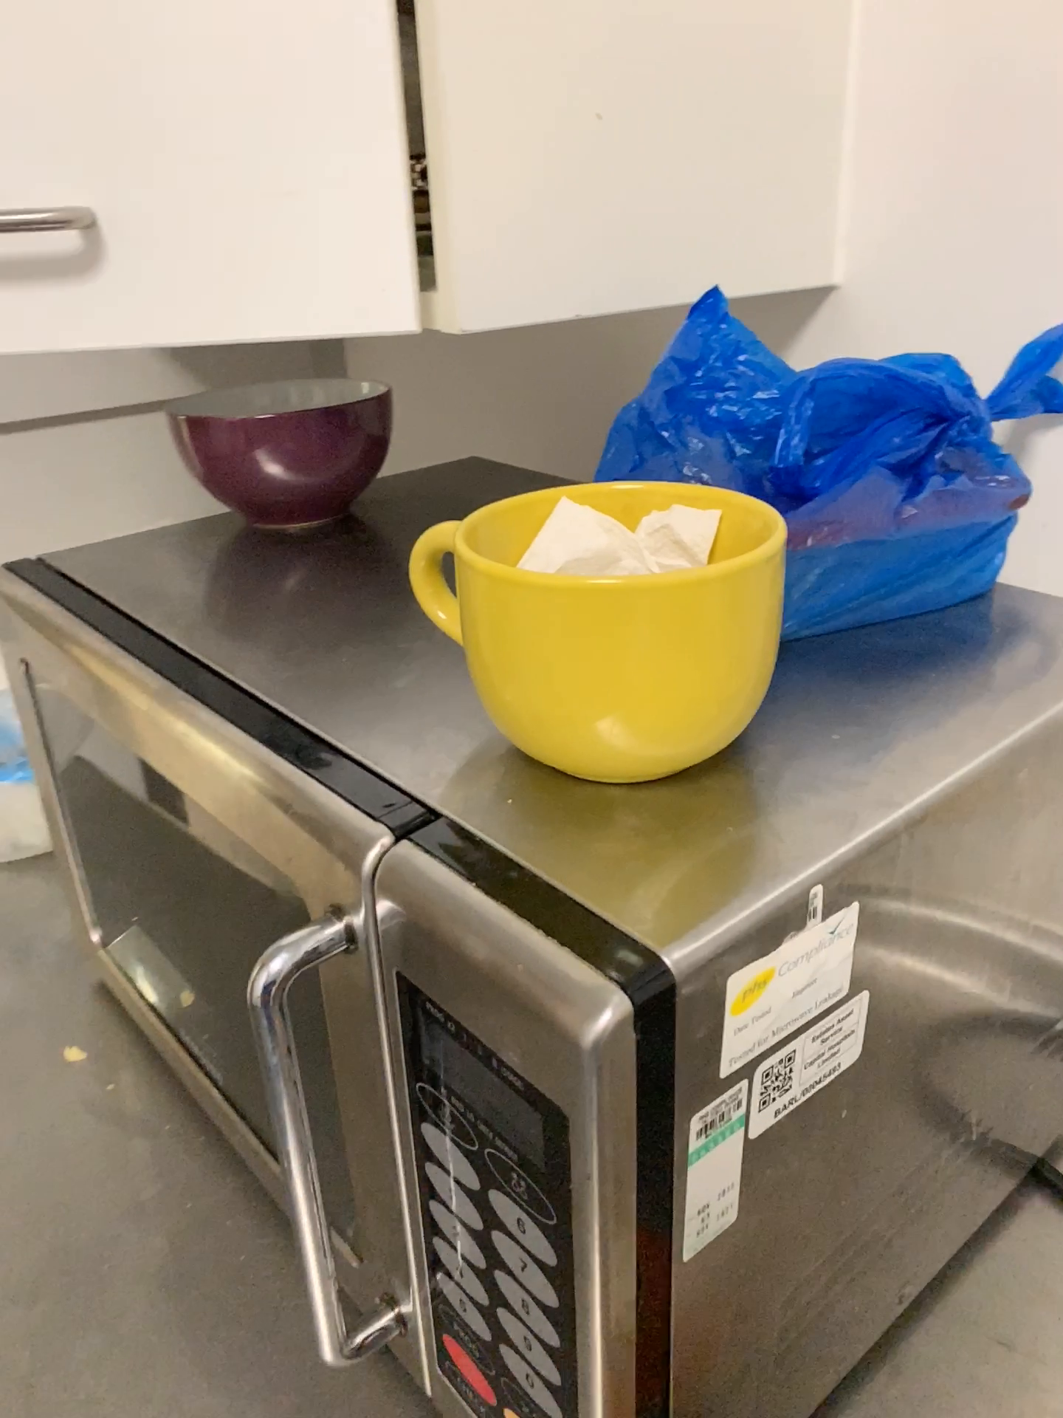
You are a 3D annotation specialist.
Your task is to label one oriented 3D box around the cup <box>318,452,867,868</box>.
[{"bbox_3d":[0.018,-0.031,0.396,0.116,0.082,0.155,-22,31,-36],"label":"cup"}]
